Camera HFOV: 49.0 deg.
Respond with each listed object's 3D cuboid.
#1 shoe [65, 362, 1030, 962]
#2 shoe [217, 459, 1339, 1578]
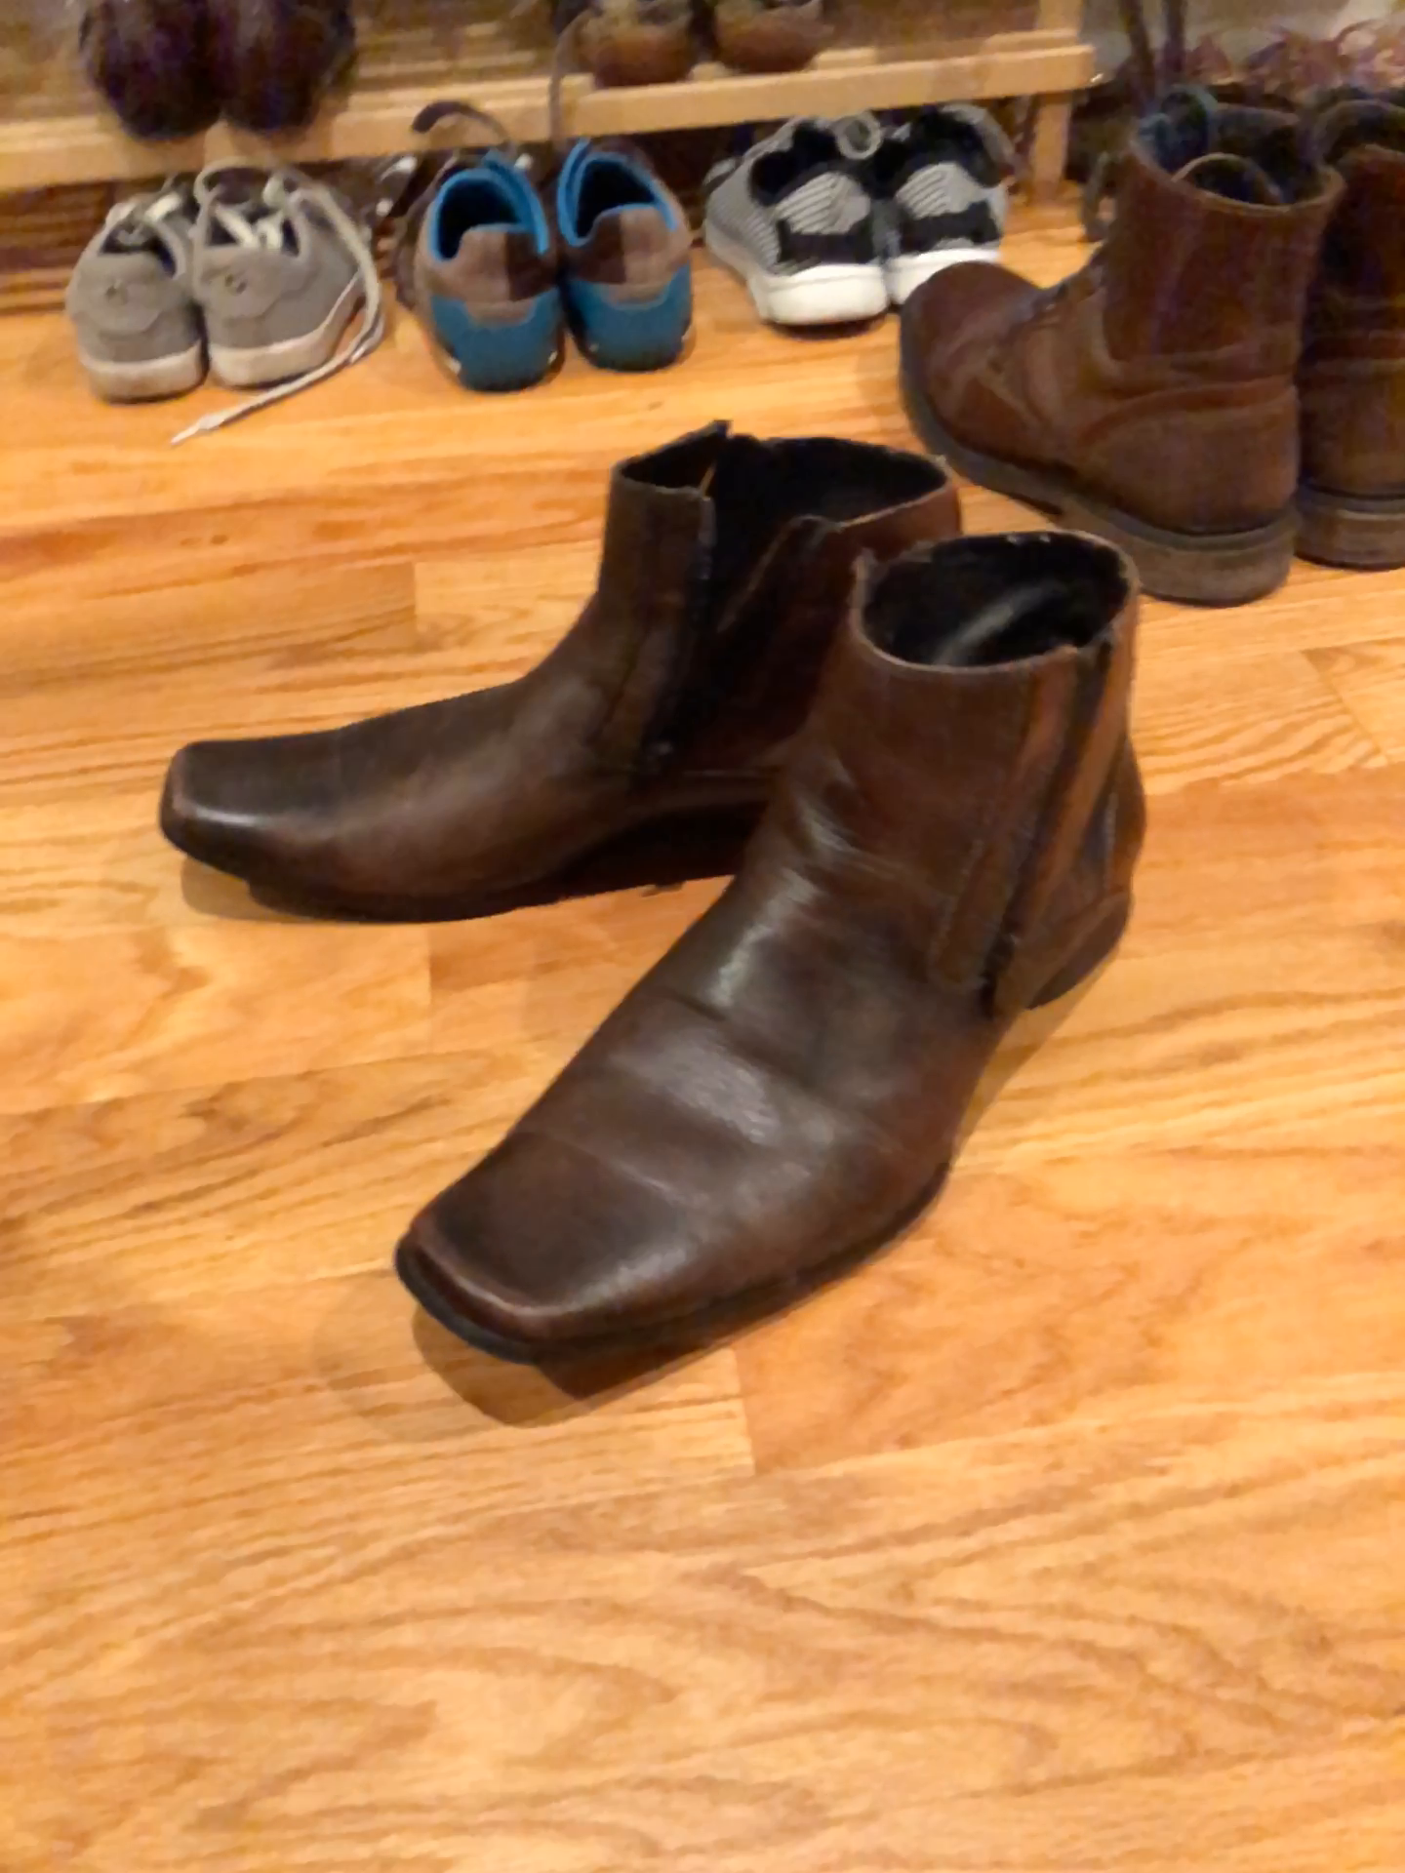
[{"bbox_3d":[-0.048,-0.098,0.550,0.290,0.142,0.110,-7,43,-4],"label":"shoe"},{"bbox_3d":[0.039,0.004,0.442,0.109,0.152,0.301,33,54,32],"label":"shoe"}]
